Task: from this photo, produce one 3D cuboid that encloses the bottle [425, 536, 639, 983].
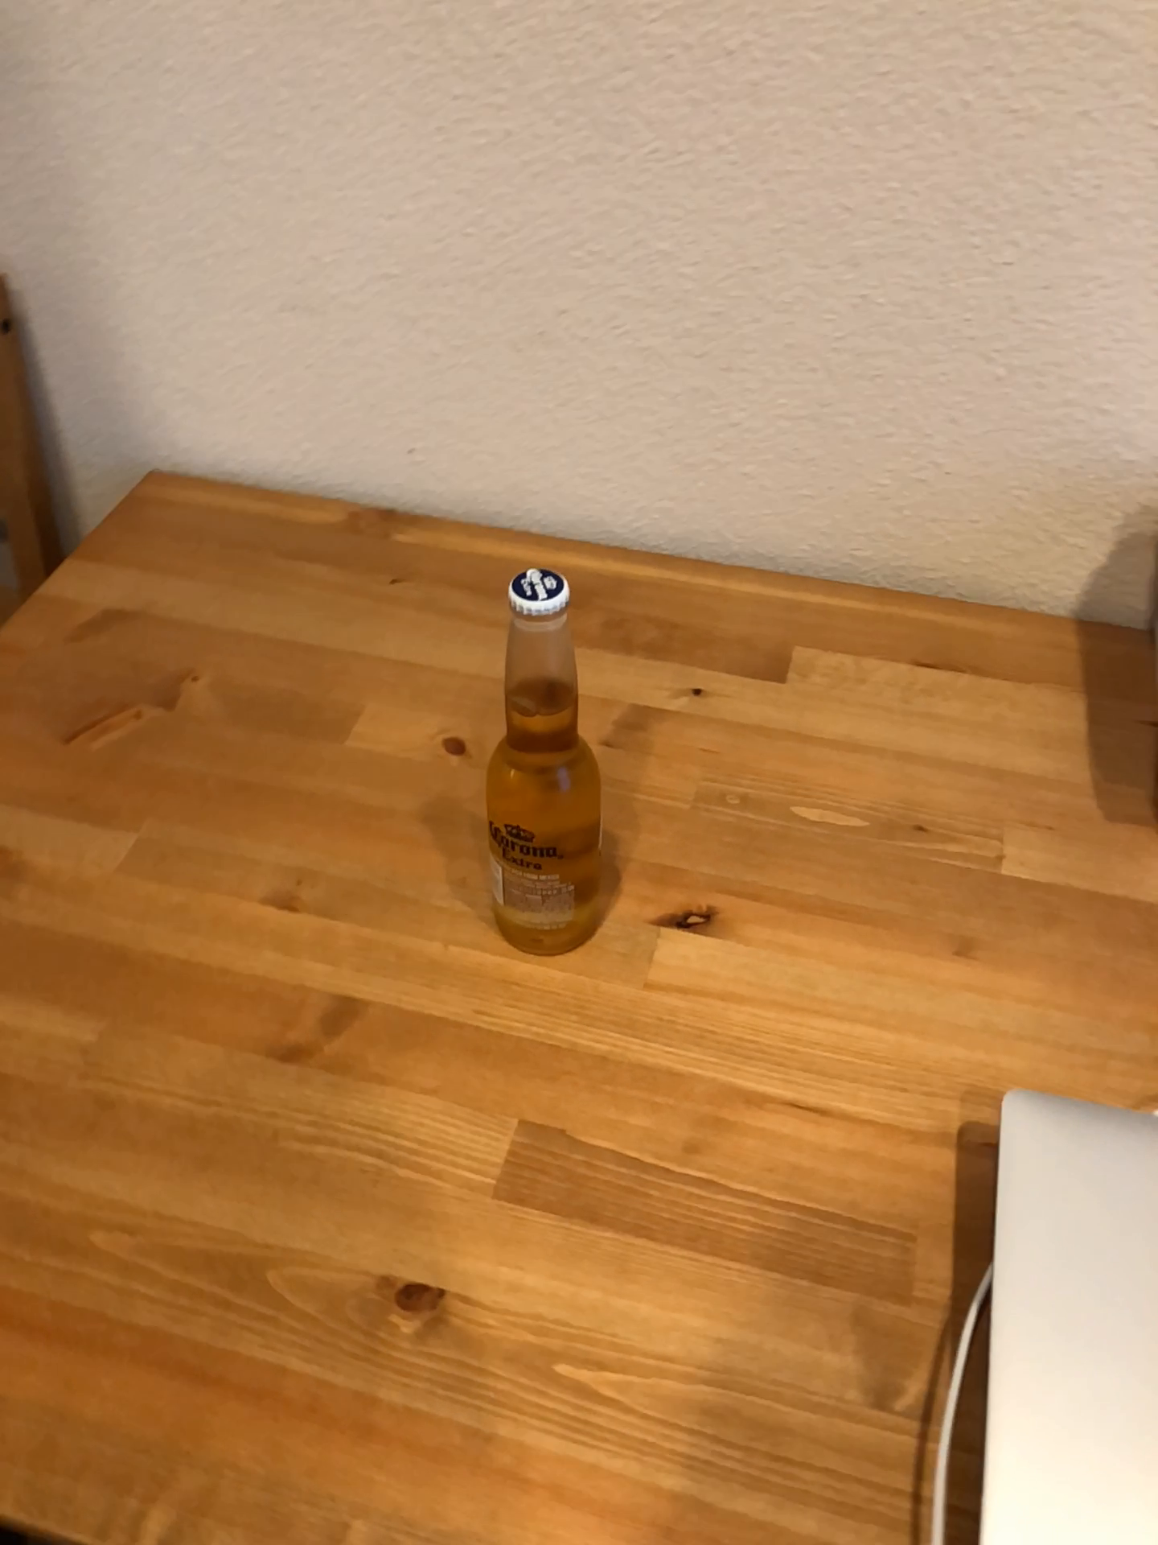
[{"bbox_3d":[-0.022,0.001,0.670,0.070,0.229,0.070,0,44,0],"label":"bottle"}]
